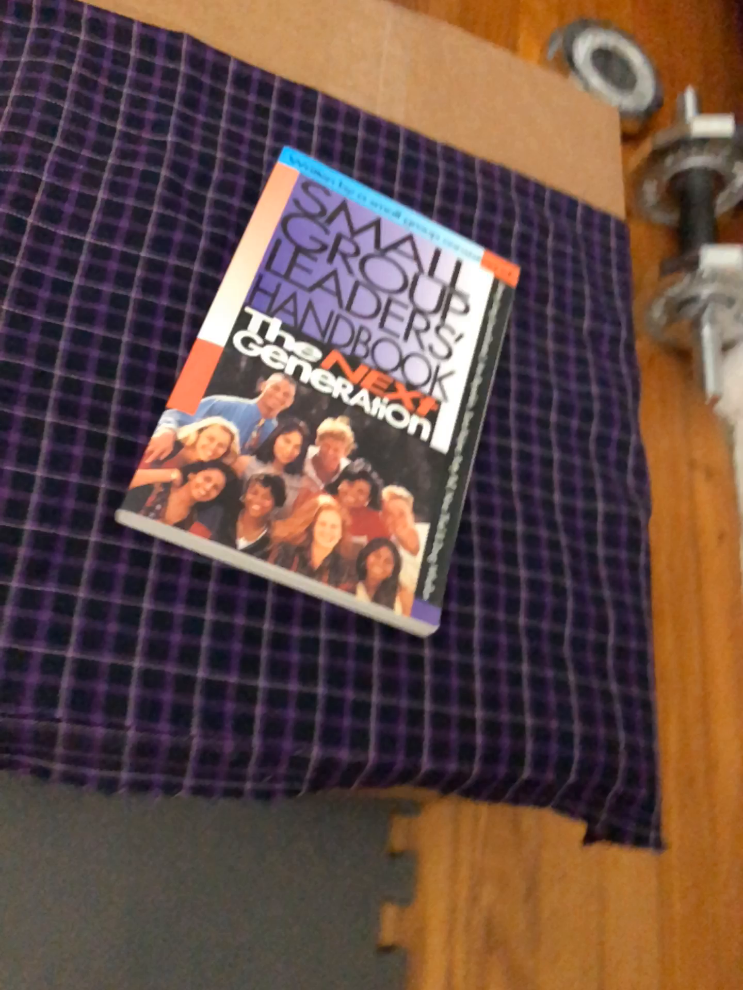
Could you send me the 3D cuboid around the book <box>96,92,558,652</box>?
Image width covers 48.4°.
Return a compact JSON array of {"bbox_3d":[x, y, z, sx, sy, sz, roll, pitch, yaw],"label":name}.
[{"bbox_3d":[-0.005,-0.062,0.370,0.150,0.030,0.221,23,62,-13],"label":"book"}]
